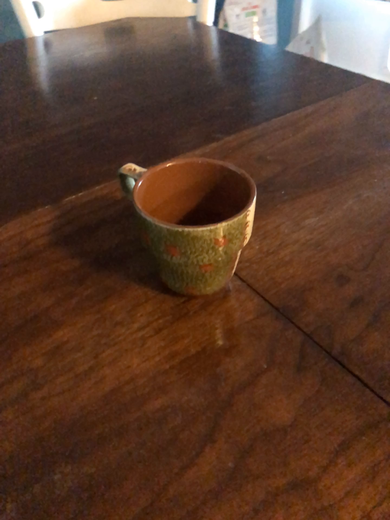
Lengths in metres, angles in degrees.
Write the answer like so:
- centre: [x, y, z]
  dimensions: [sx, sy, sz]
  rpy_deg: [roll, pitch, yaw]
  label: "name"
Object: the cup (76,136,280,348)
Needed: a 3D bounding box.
- centre: [-0.013, -0.022, 0.383]
  dimensions: [0.130, 0.110, 0.100]
  rpy_deg: [30, 51, 31]
  label: "cup"
